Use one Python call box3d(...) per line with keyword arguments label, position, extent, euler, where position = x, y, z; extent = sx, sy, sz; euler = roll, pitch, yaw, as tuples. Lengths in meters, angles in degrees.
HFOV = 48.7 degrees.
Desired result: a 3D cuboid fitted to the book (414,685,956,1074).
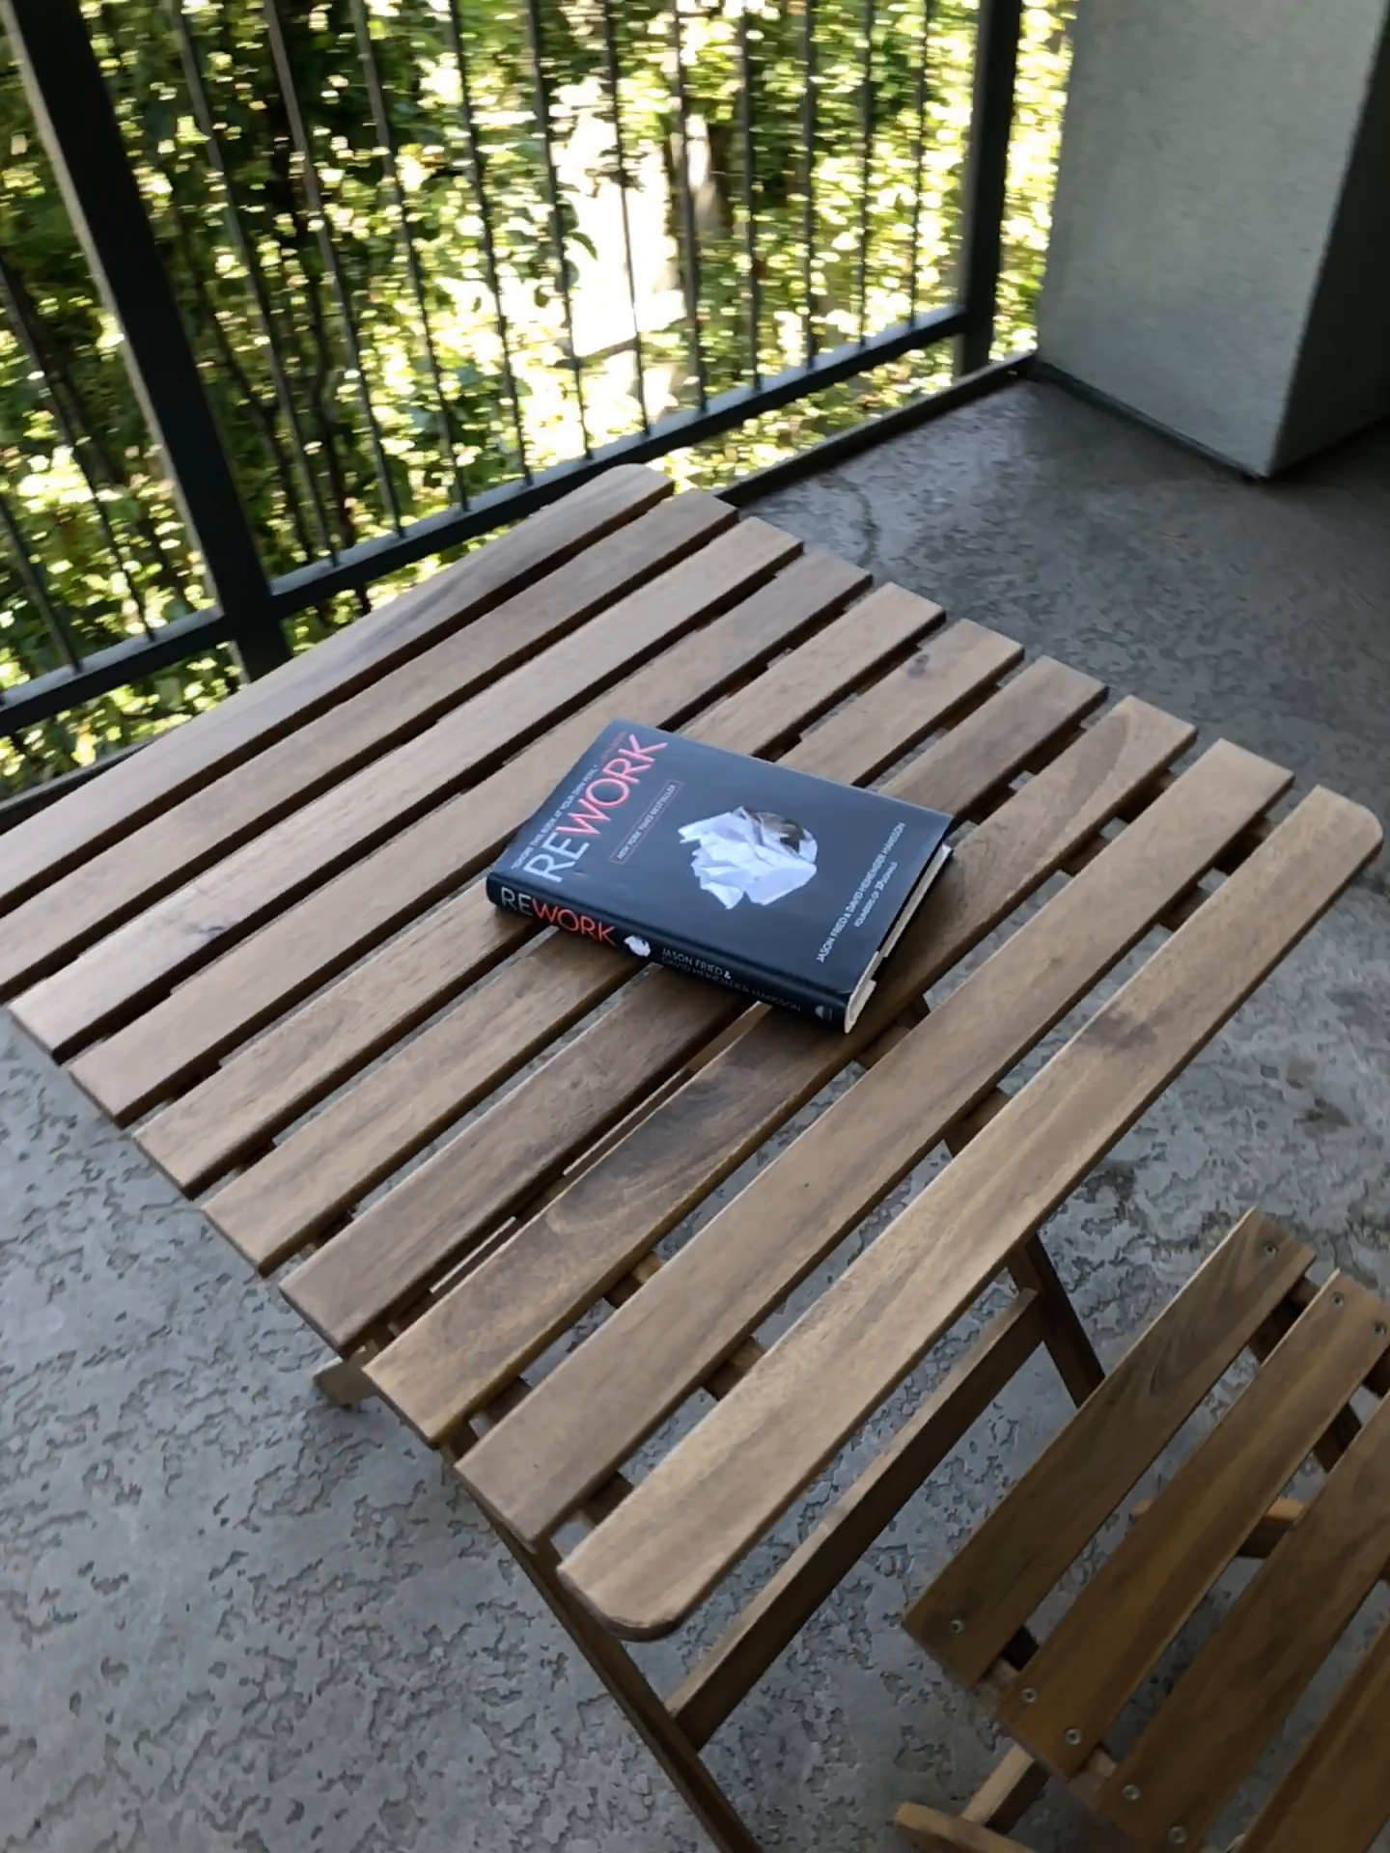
box3d(label="book", position=(-0.003, -0.035, 0.839), extent=(0.240, 0.040, 0.170), euler=(19, 52, 20))
